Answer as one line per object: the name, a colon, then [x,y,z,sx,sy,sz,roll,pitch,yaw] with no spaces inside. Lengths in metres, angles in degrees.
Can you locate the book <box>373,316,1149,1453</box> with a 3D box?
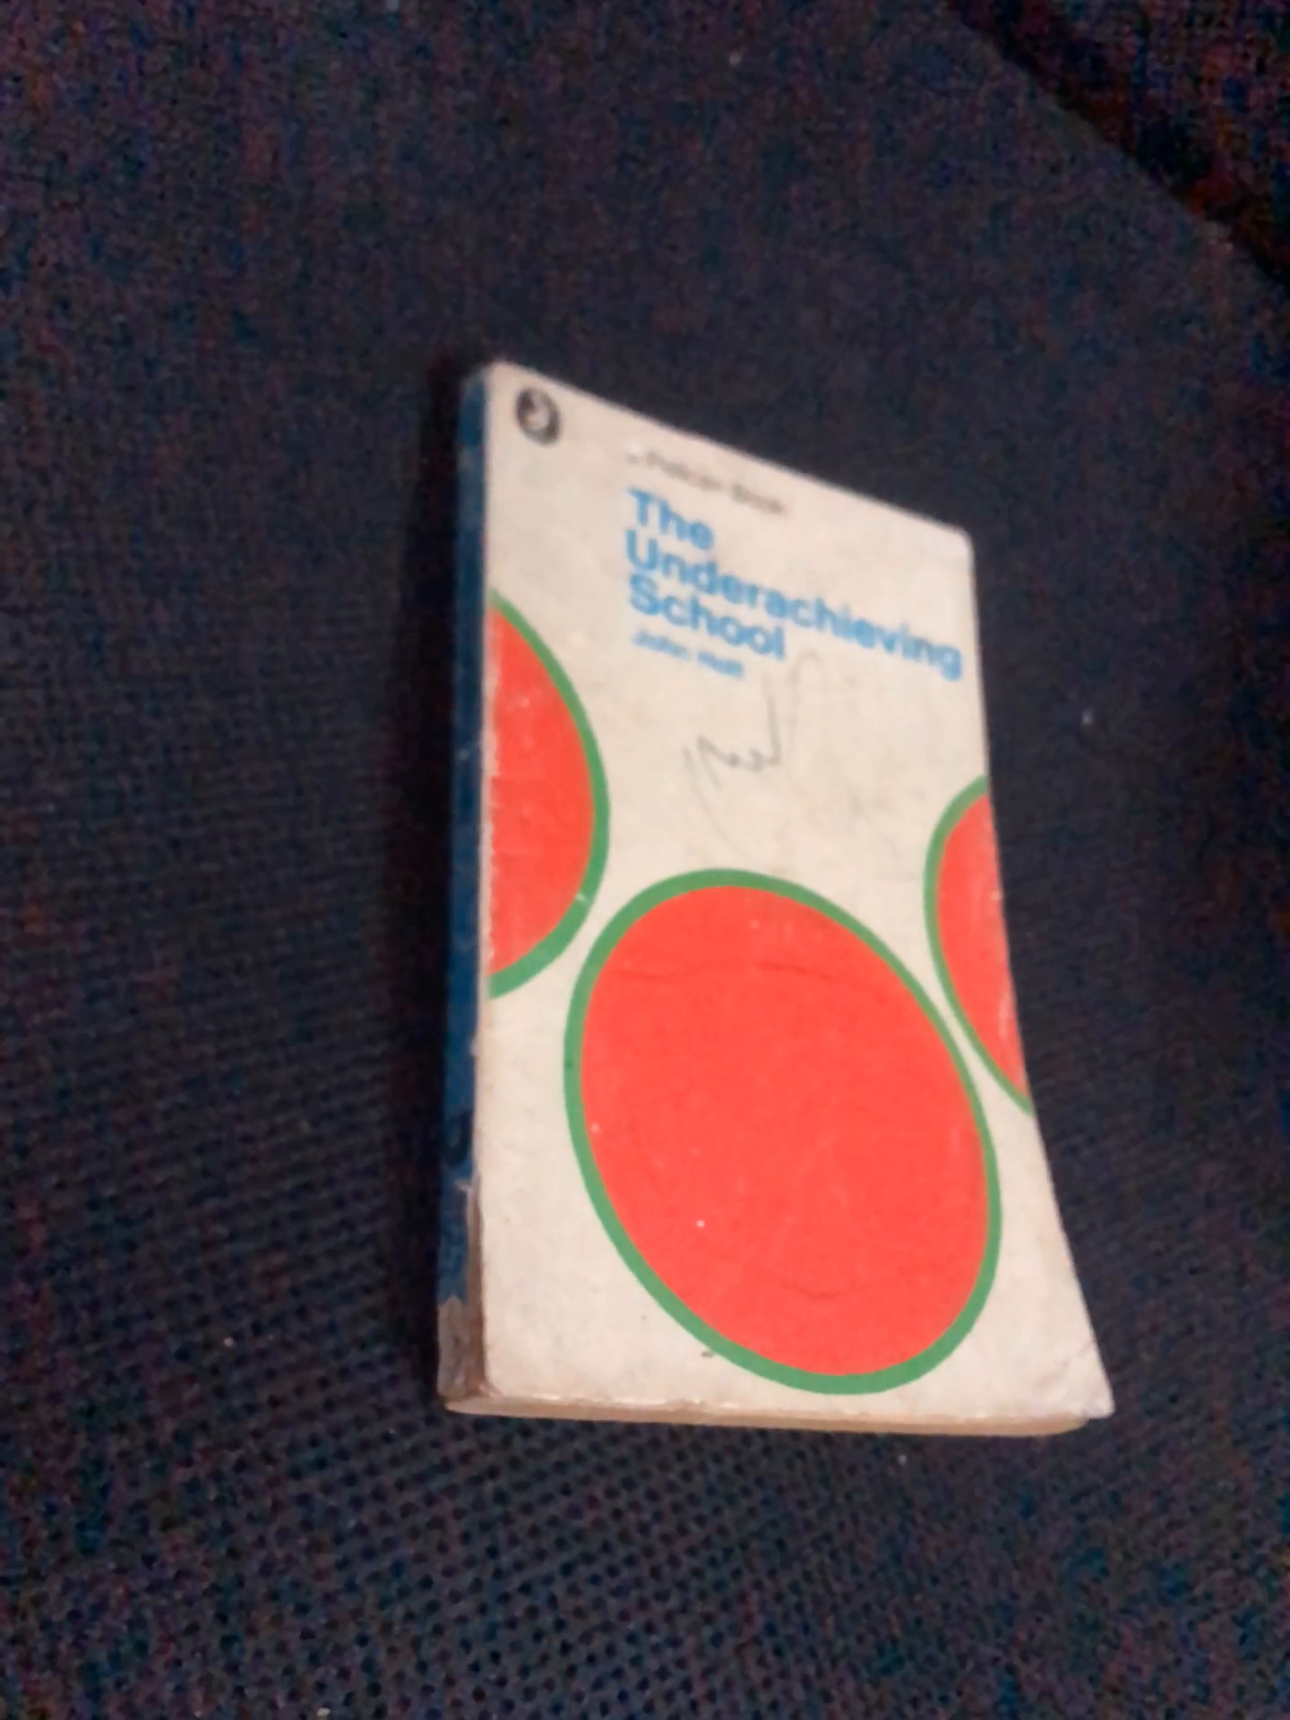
book: [0.019,0.002,0.249,0.121,0.020,0.182,13,59,-28]
